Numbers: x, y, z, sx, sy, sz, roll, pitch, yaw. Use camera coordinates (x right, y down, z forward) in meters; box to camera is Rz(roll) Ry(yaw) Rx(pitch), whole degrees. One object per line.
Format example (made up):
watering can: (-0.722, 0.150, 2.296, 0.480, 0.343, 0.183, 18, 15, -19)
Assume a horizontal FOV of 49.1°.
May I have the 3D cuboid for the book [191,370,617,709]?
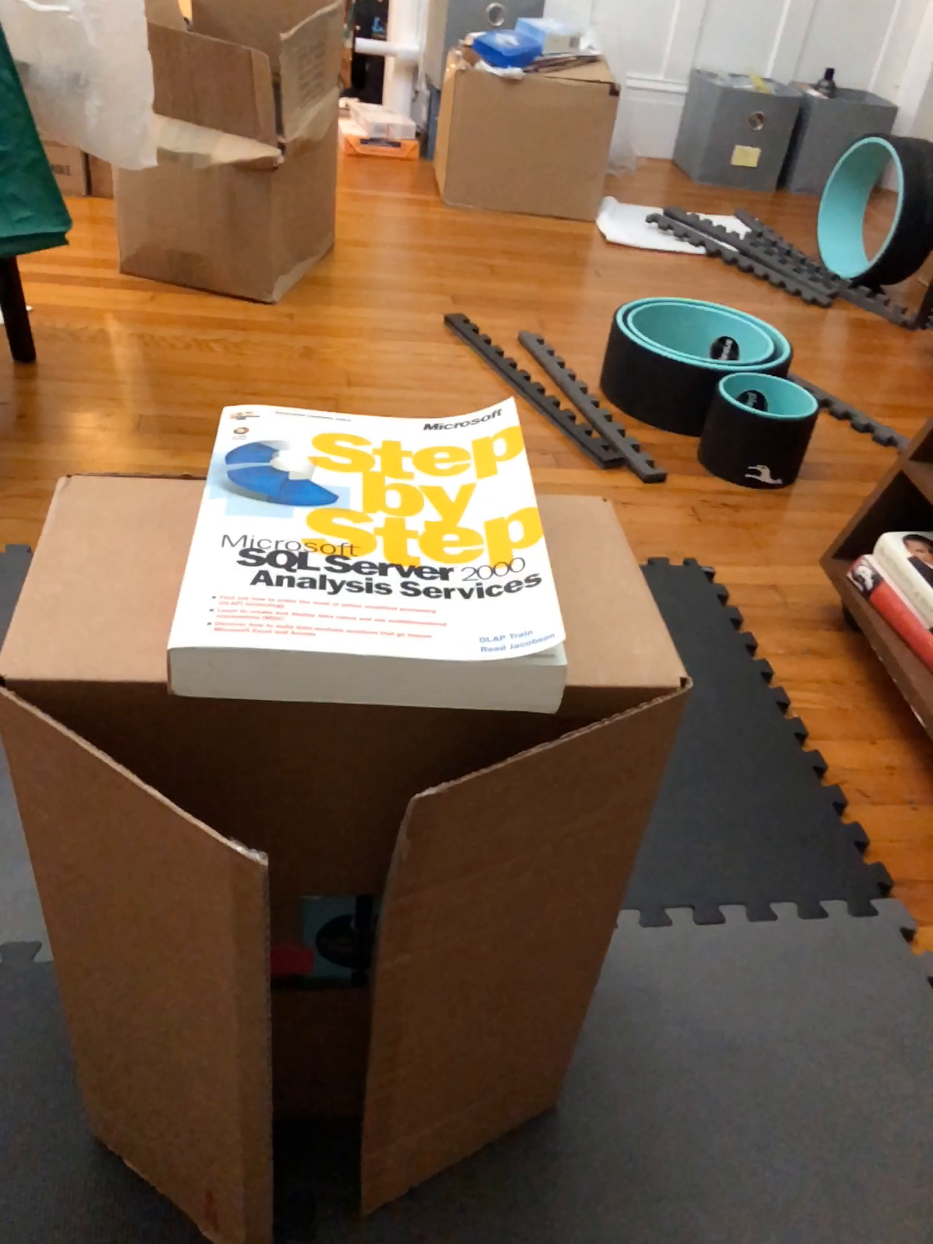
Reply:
book: (-0.049, -0.055, 0.578, 0.200, 0.050, 0.241, 2, 40, -14)
